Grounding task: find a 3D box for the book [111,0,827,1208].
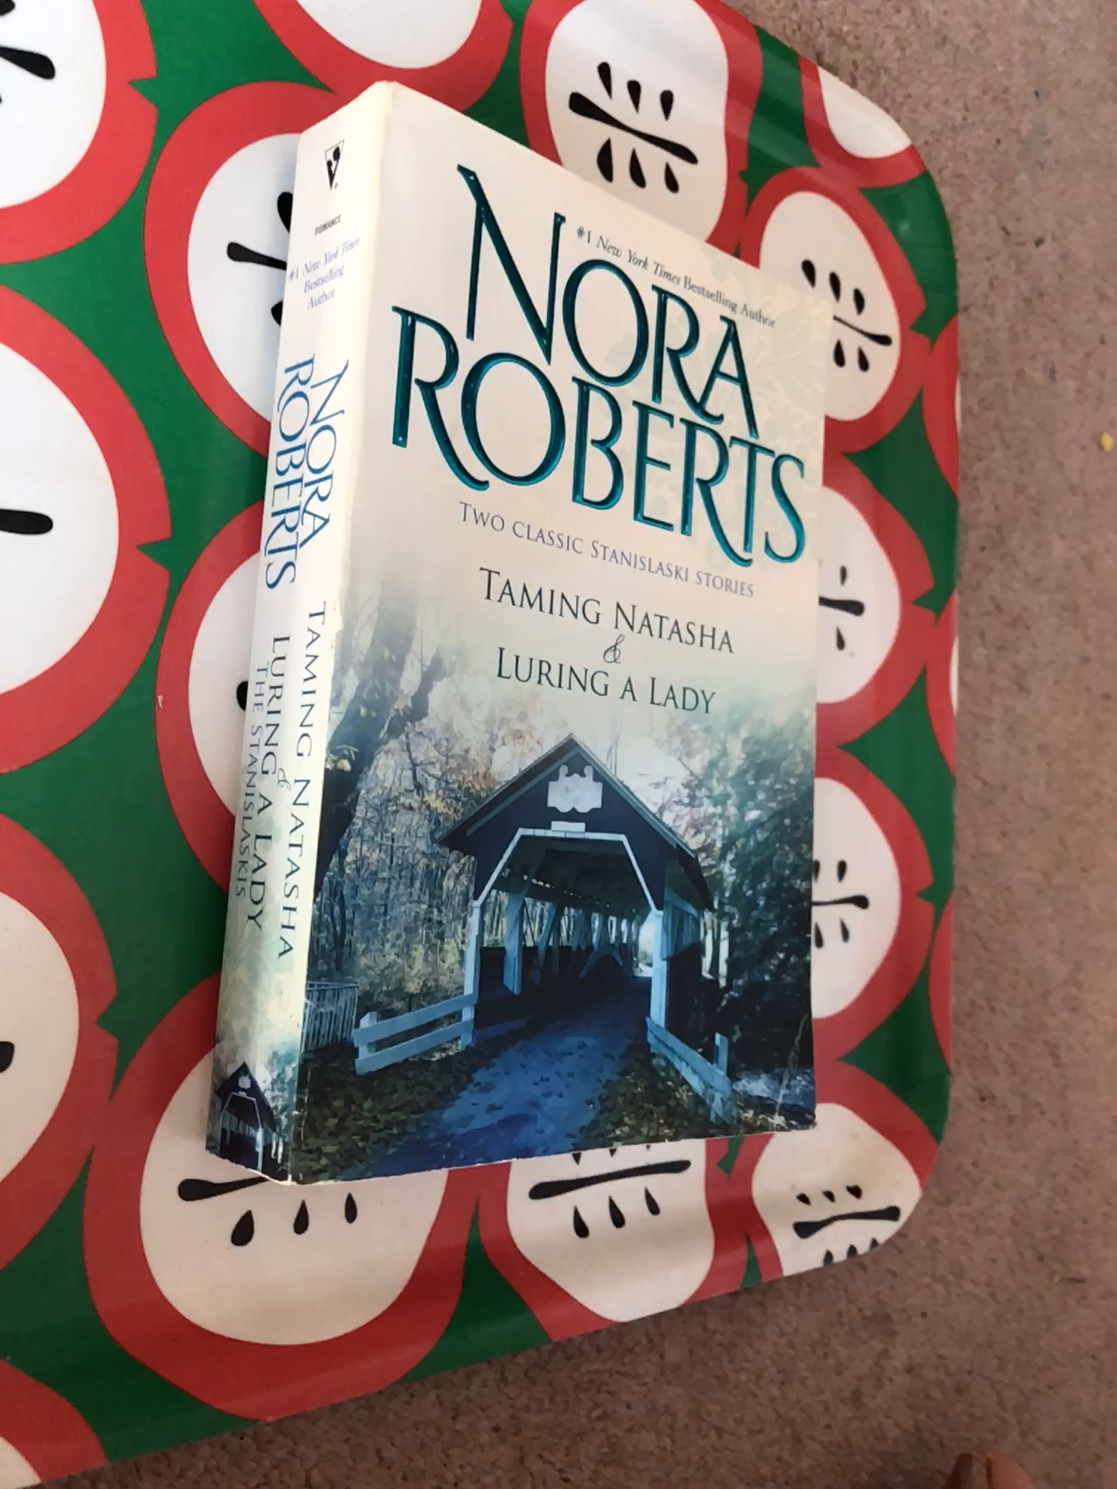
[{"bbox_3d":[-0.009,-0.025,0.273,0.141,0.040,0.220,8,84,-38],"label":"book"}]
